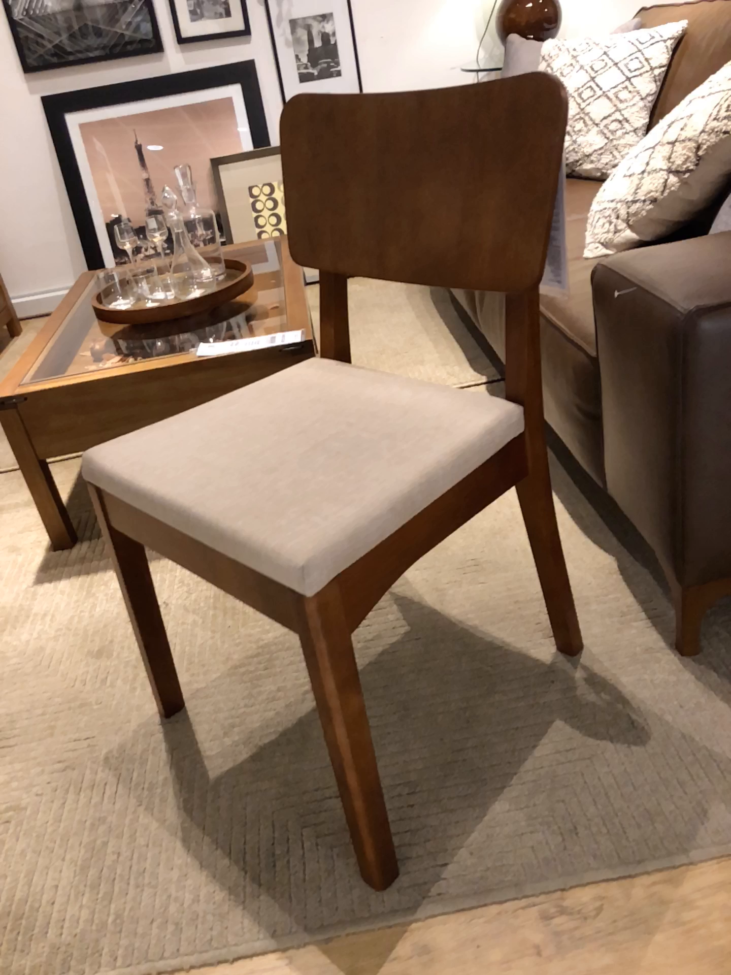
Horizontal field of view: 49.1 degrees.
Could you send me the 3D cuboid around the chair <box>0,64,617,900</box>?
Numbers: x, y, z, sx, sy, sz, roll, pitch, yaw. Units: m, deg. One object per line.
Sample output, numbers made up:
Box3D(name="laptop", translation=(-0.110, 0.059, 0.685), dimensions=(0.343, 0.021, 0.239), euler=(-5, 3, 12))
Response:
Box3D(name="chair", translation=(-0.039, -0.049, 1.053), dimensions=(0.532, 0.794, 0.512), euler=(-33, 37, -34))
